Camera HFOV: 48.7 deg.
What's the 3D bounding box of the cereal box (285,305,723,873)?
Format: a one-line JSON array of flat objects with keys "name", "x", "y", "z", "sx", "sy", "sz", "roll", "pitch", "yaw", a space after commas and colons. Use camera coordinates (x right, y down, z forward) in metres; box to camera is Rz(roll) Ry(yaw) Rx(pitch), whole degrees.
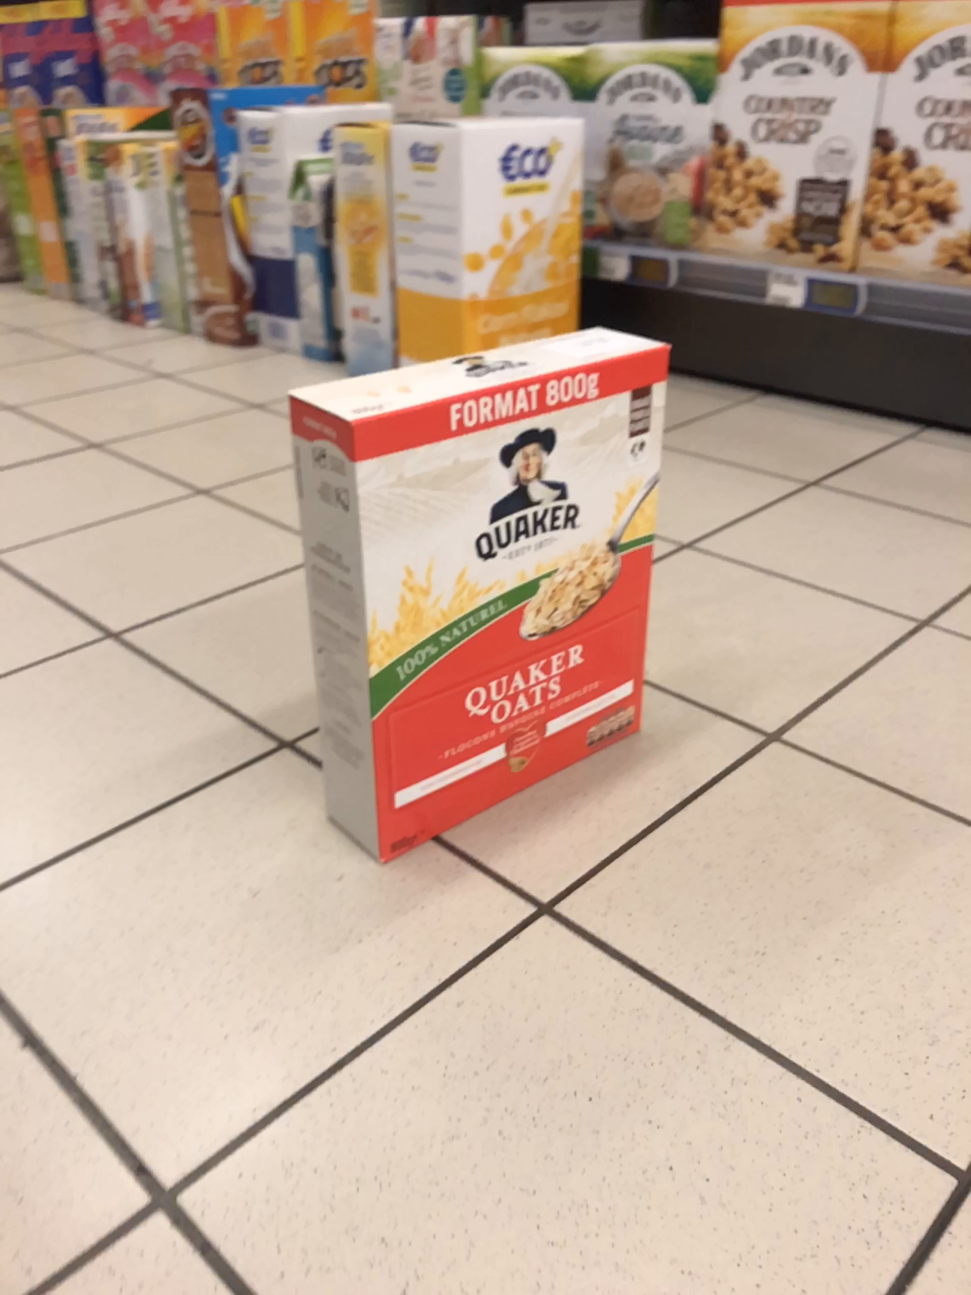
[{"name": "cereal box", "x": 0.016, "y": -0.037, "z": 0.538, "sx": 0.211, "sy": 0.229, "sz": 0.060, "roll": -21, "pitch": 35, "yaw": -35}]
